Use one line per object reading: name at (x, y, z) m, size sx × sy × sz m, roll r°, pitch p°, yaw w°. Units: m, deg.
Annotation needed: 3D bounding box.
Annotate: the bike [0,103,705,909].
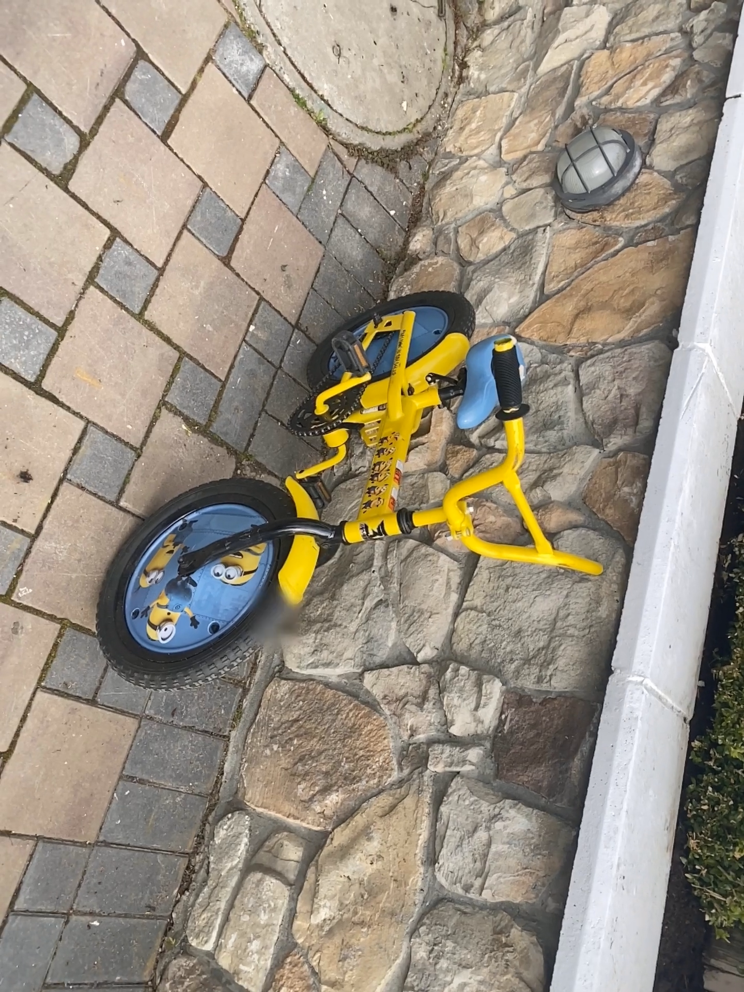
bike at (0.081, -0.060, 1.382) m, size 0.621 × 0.735 × 1.088 m, roll 58°, pitch 47°, yaw -34°
